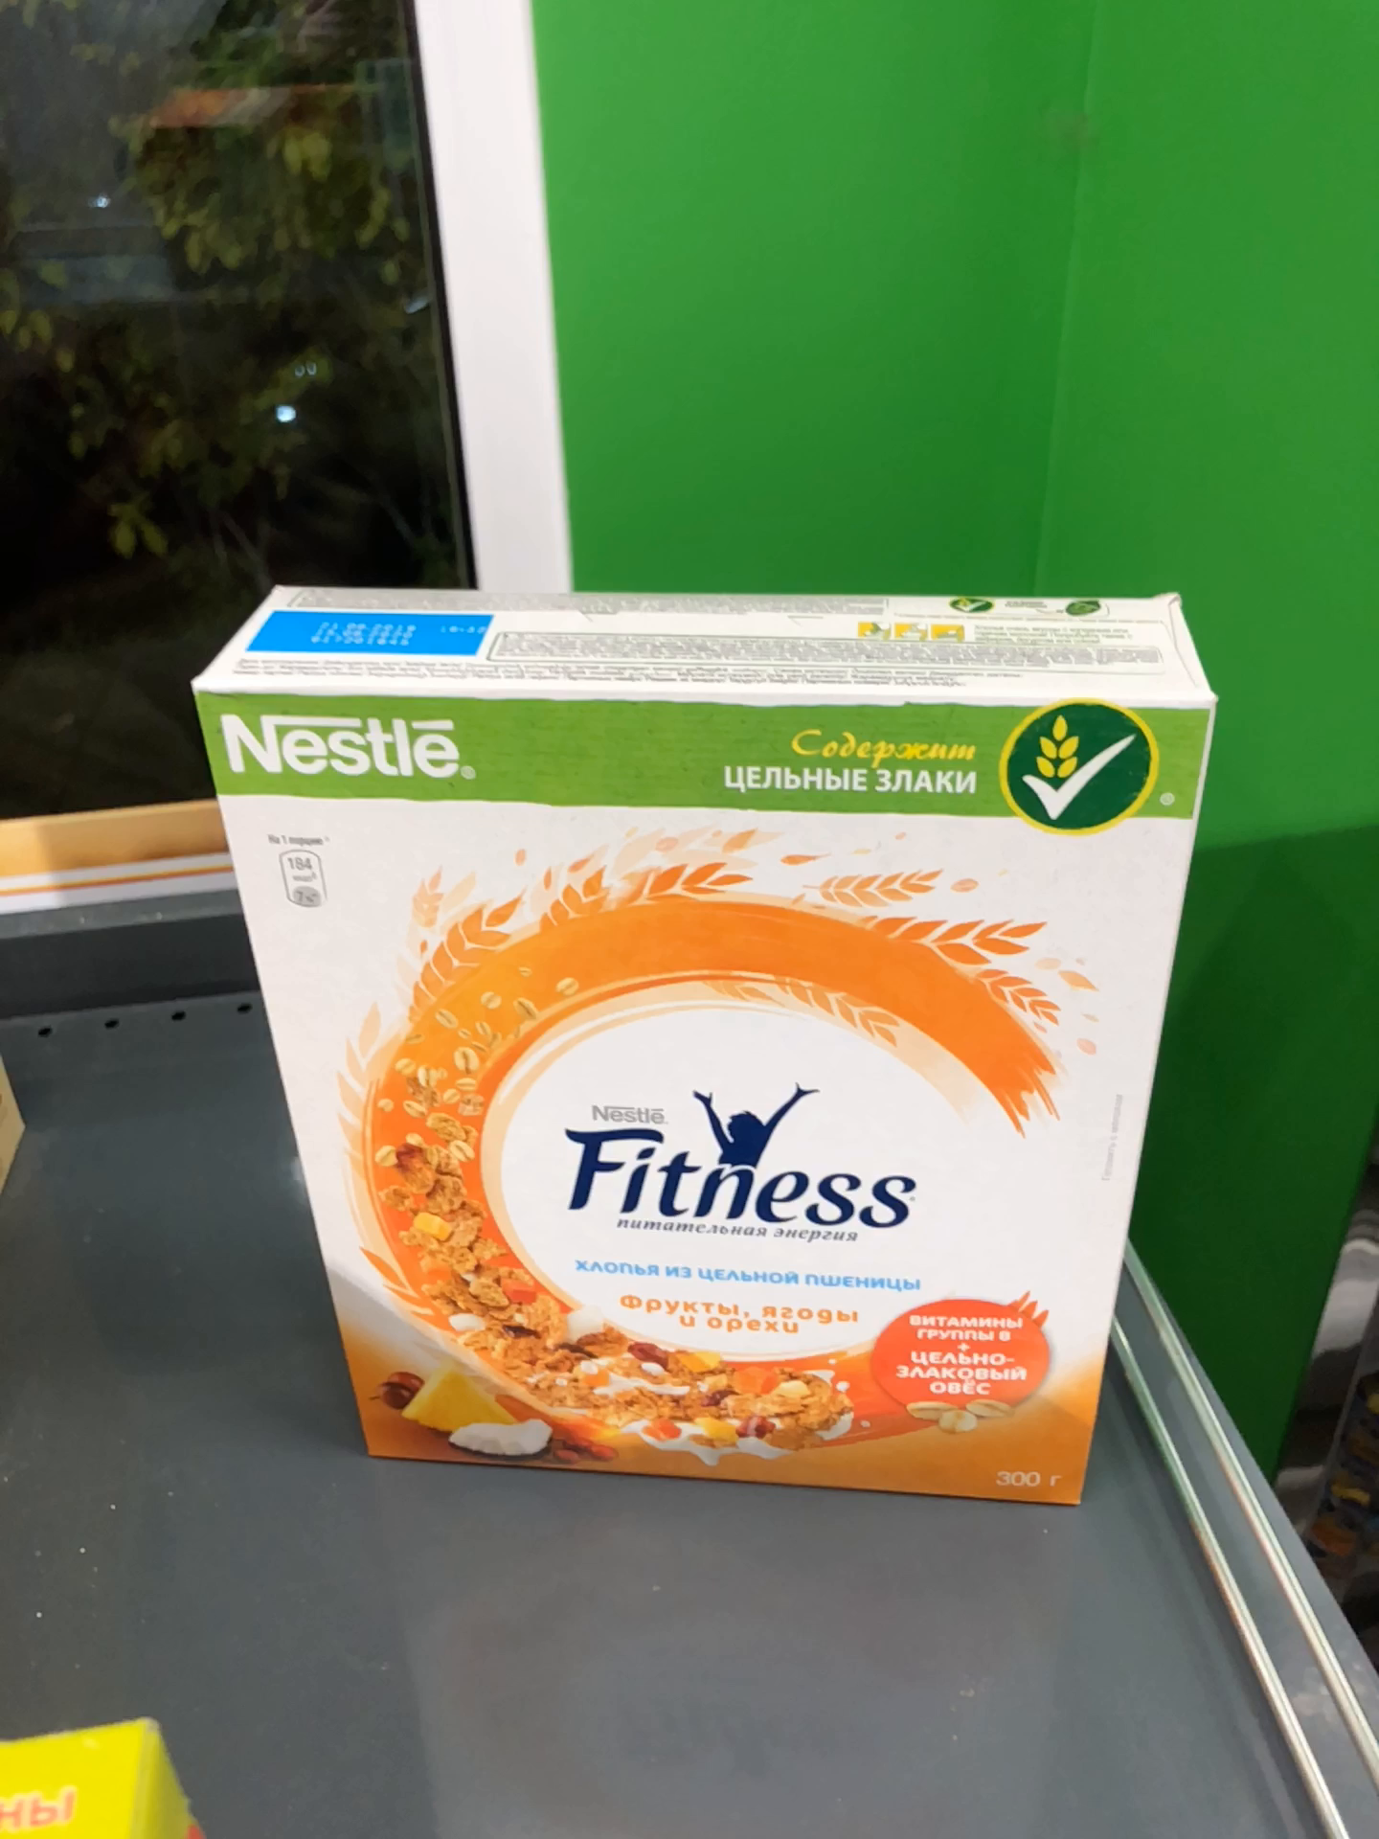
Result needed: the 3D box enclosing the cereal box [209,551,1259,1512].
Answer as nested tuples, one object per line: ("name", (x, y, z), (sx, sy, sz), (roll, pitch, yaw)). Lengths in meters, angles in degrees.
("cereal box", (0.011, 0.037, 0.380), (0.200, 0.239, 0.060), (2, 33, 6))
